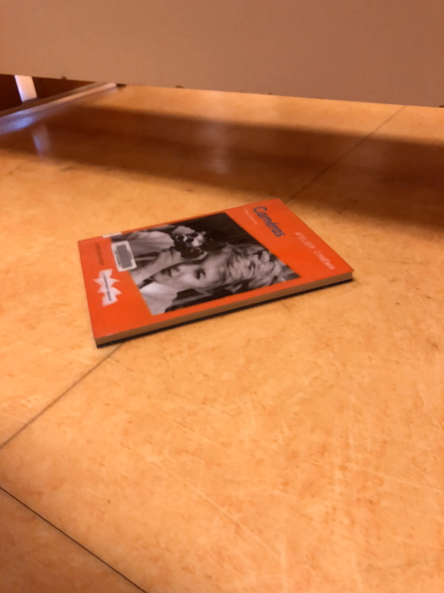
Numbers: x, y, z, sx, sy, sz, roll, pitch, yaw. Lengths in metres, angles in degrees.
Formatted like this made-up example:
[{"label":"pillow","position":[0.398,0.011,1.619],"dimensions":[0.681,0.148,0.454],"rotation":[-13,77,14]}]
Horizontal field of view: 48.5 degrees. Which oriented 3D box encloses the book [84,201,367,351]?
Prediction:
[{"label":"book","position":[-0.008,-0.030,0.423],"dimensions":[0.206,0.011,0.155],"rotation":[-13,35,-12]}]
